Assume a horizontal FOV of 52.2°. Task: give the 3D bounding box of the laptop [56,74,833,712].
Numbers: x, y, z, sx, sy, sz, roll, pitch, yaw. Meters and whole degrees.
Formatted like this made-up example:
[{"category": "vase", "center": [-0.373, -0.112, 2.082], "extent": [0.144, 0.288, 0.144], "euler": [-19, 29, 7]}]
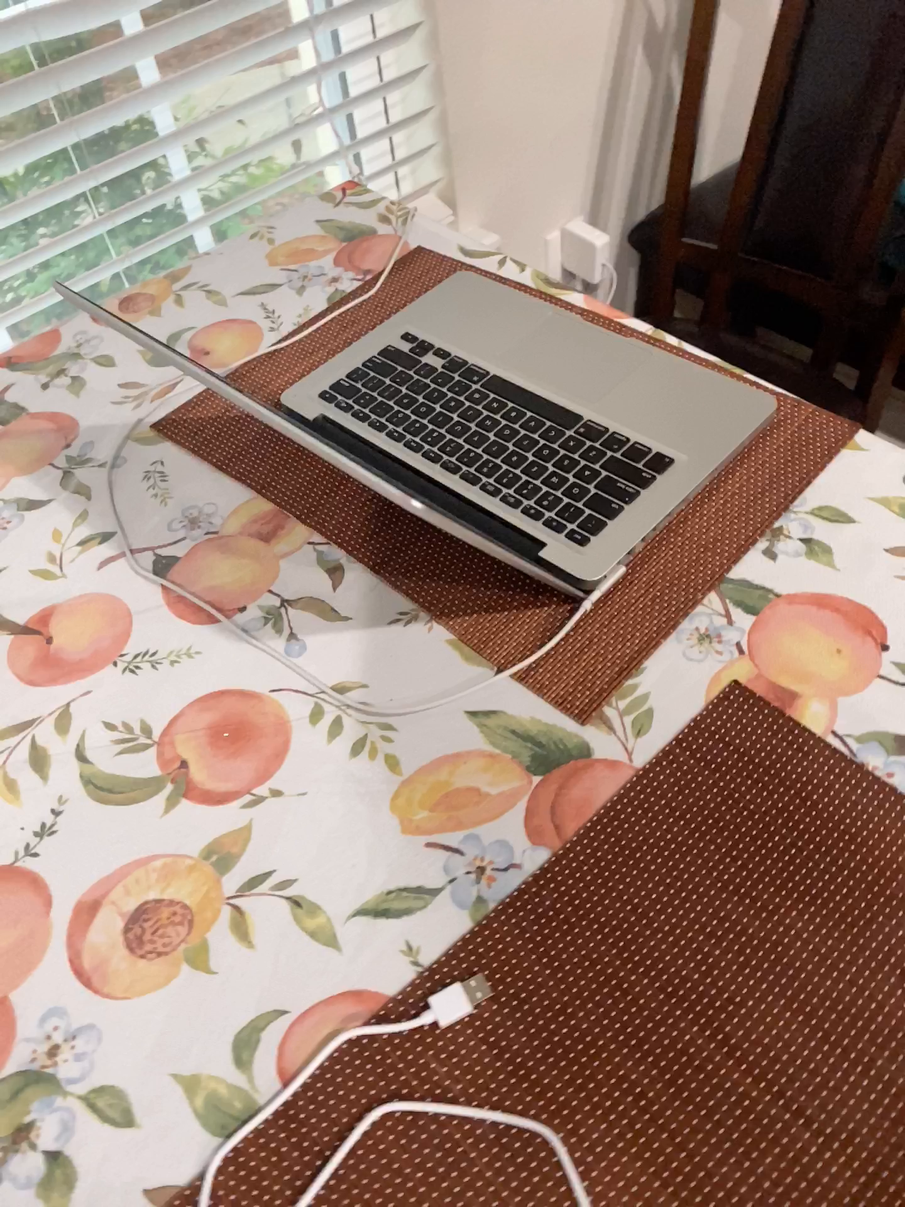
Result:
[{"category": "laptop", "center": [0.001, -0.171, 0.620], "extent": [0.318, 0.162, 0.349], "euler": [34, 62, 30]}]
